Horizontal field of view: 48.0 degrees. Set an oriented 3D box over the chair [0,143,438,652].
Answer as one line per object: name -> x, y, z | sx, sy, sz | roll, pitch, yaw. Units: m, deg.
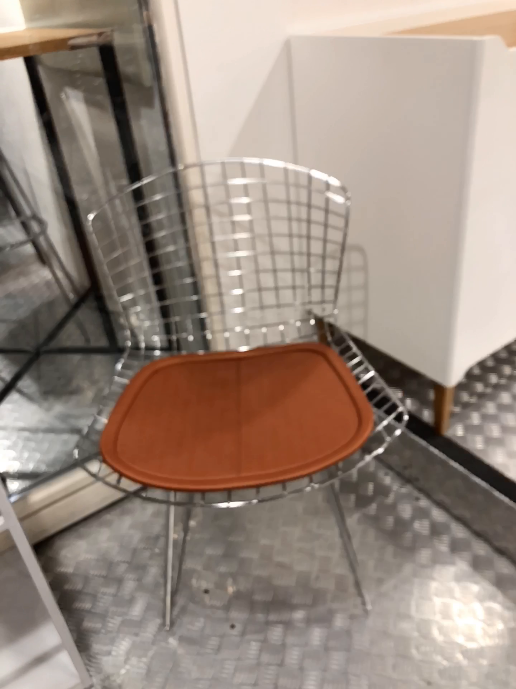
chair -> -0.041, 0.077, 1.109 | 0.550, 0.705, 0.574 | -7, 32, 0
